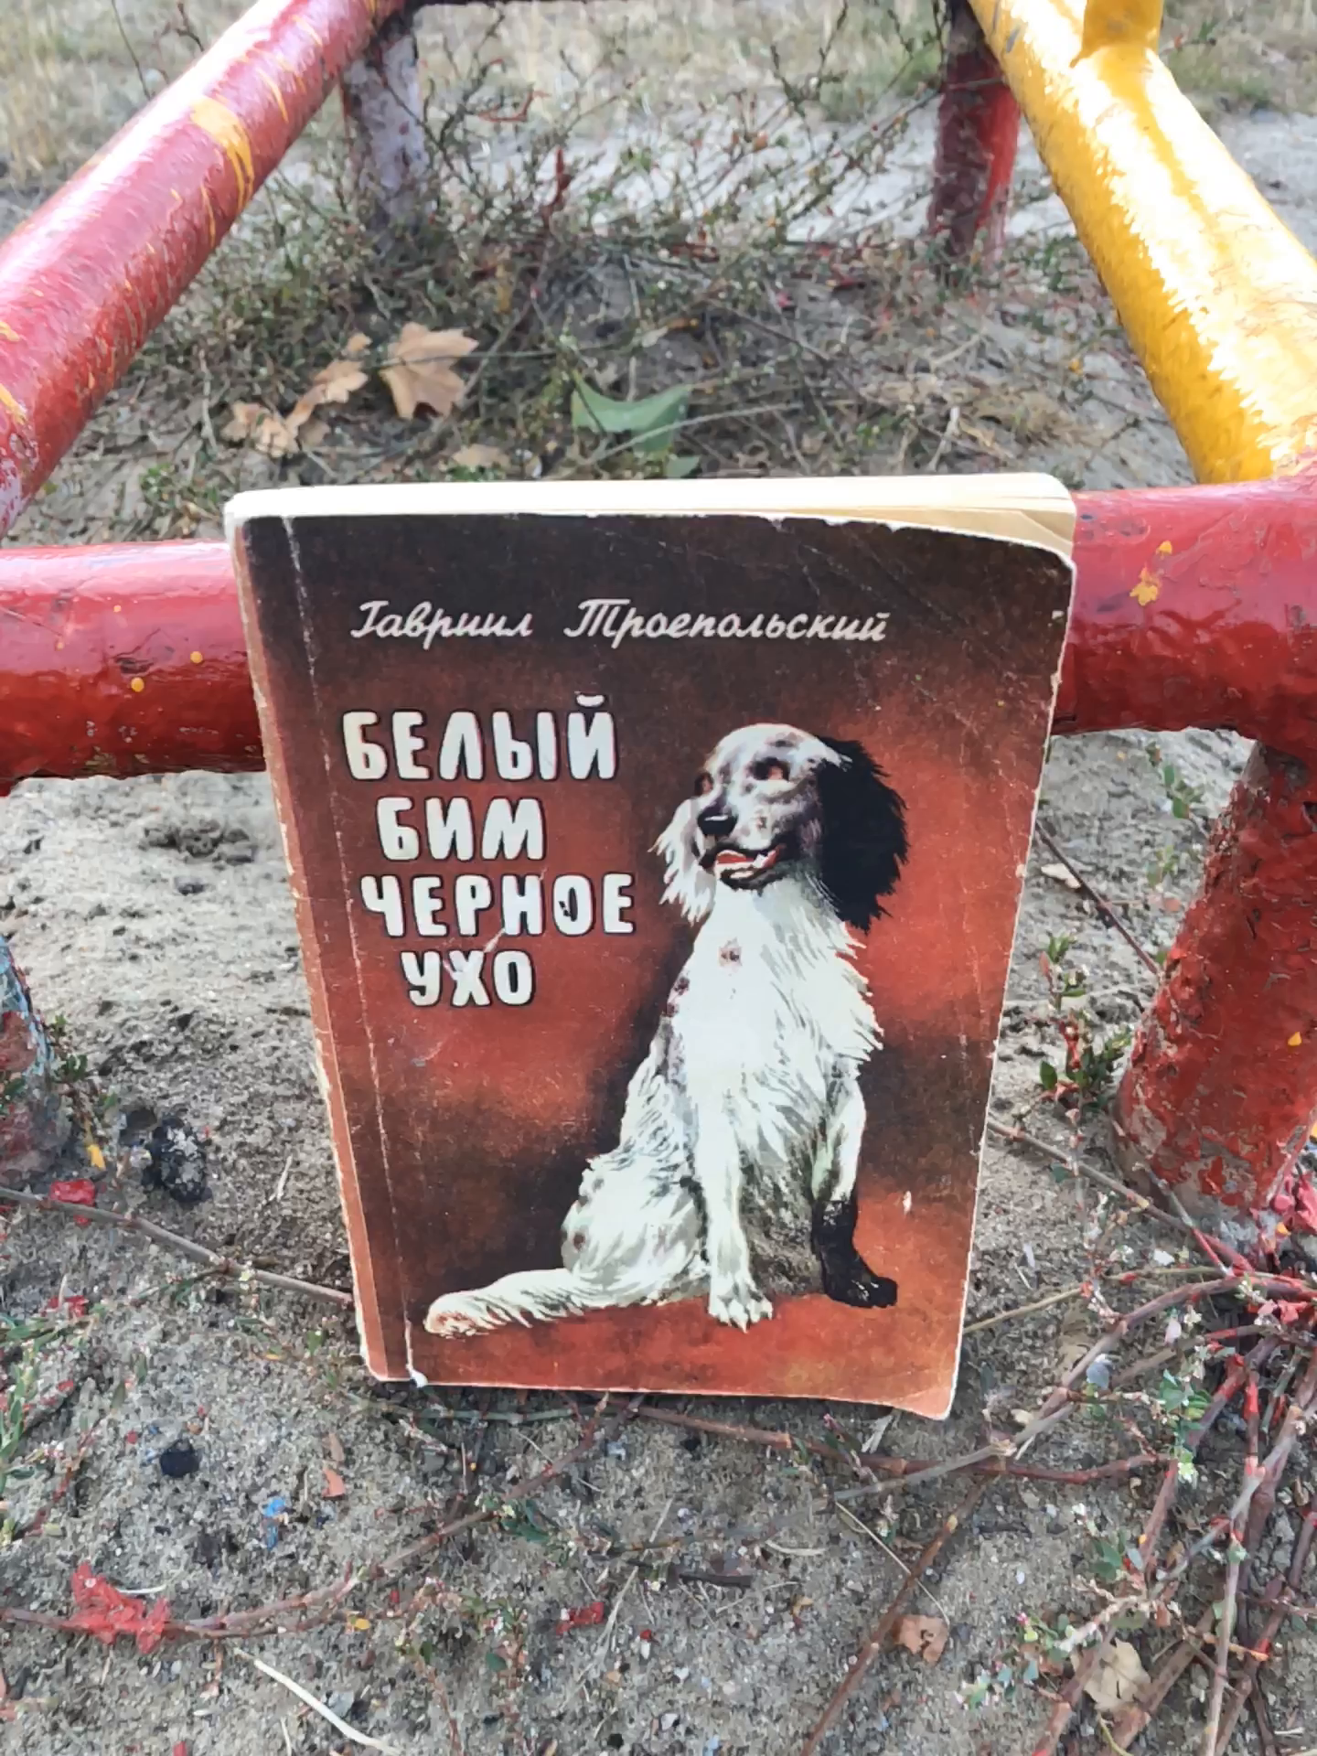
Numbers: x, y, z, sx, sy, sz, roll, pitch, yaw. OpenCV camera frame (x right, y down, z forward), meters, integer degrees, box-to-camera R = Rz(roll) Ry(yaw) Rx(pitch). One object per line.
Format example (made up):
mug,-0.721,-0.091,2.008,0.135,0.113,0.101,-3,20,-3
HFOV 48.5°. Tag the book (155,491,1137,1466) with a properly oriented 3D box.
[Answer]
book,0.001,0.031,0.261,0.130,0.196,0.030,1,35,4
